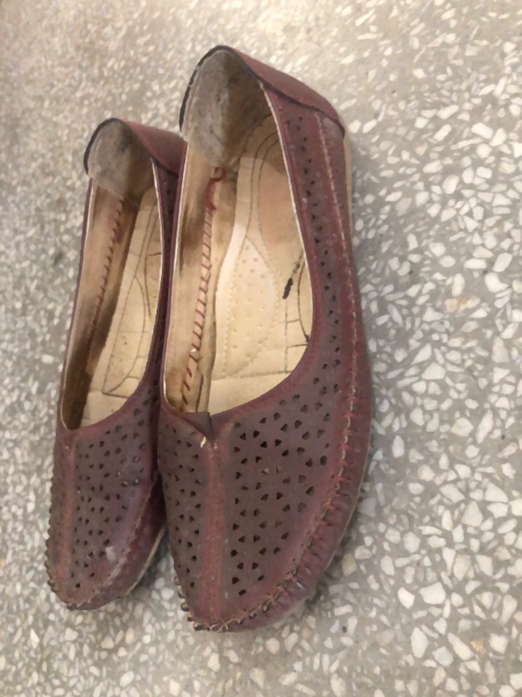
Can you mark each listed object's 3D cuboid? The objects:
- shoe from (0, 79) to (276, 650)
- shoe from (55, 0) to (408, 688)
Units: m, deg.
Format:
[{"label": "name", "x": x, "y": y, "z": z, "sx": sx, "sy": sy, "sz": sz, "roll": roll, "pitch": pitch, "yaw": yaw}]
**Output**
[{"label": "shoe", "x": -0.069, "y": 0.005, "z": 0.293, "sx": 0.088, "sy": 0.080, "sz": 0.236, "roll": -1, "pitch": 73, "yaw": 38}, {"label": "shoe", "x": -0.003, "y": -0.006, "z": 0.242, "sx": 0.095, "sy": 0.080, "sz": 0.231, "roll": -10, "pitch": 68, "yaw": 36}]
